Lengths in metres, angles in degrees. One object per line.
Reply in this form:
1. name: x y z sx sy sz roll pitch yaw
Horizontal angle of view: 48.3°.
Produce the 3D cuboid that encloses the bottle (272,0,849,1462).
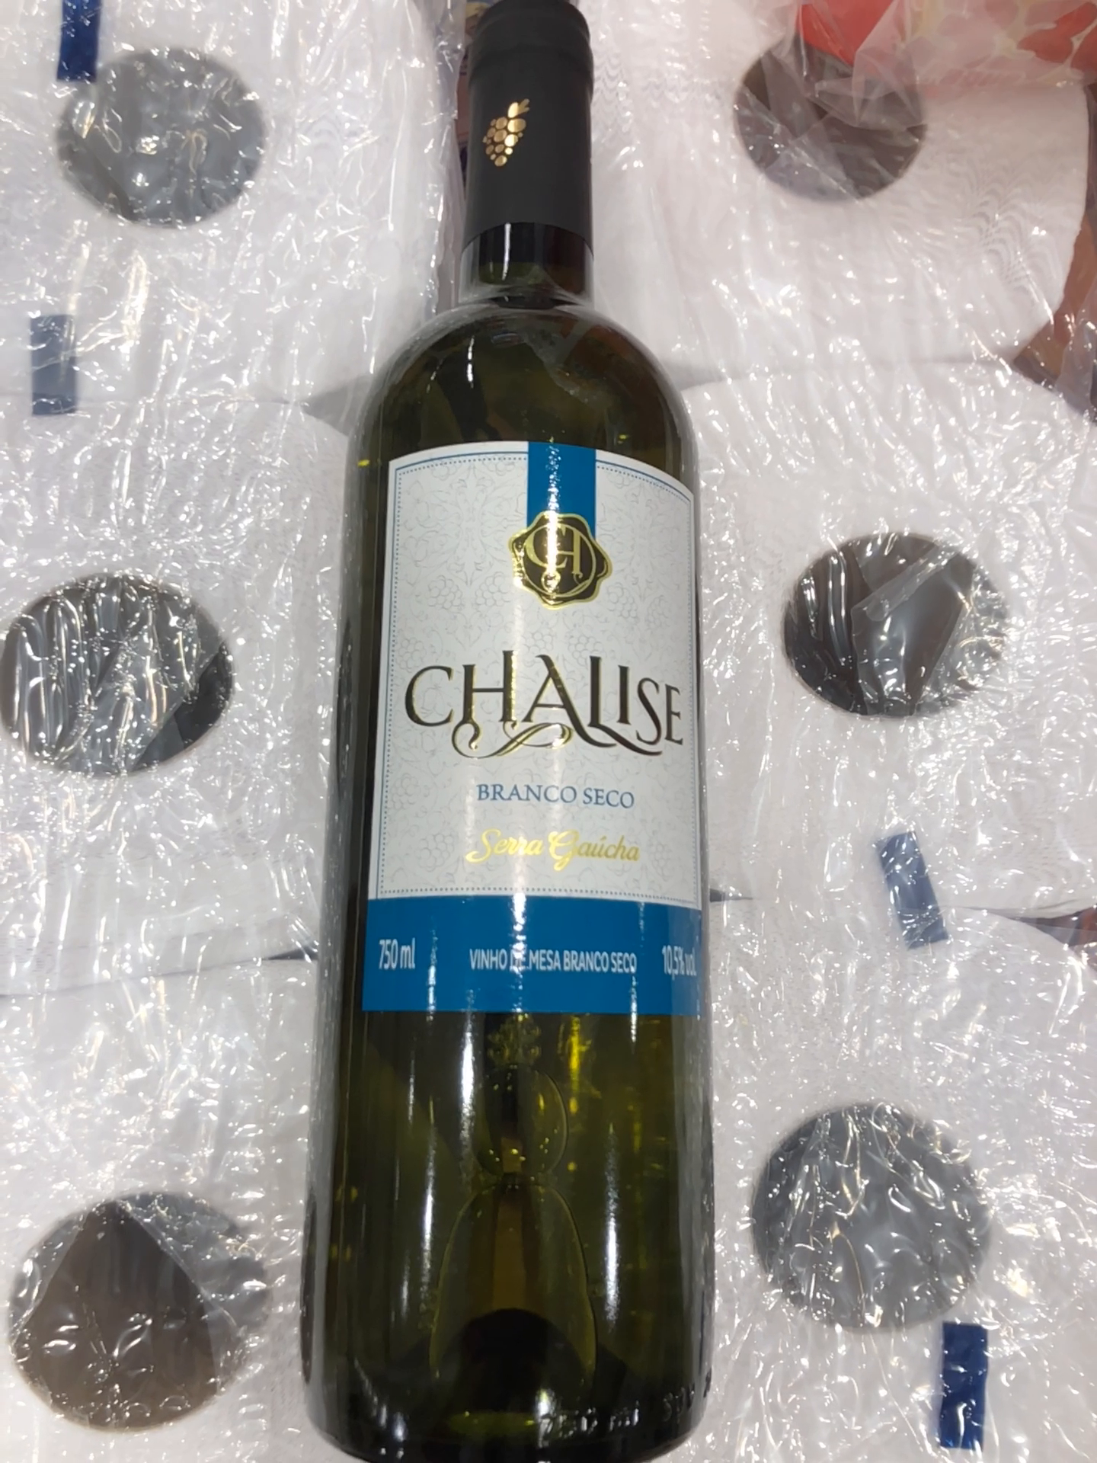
1. bottle: 0.001 -0.013 0.230 0.080 0.060 0.280 5 76 -14
